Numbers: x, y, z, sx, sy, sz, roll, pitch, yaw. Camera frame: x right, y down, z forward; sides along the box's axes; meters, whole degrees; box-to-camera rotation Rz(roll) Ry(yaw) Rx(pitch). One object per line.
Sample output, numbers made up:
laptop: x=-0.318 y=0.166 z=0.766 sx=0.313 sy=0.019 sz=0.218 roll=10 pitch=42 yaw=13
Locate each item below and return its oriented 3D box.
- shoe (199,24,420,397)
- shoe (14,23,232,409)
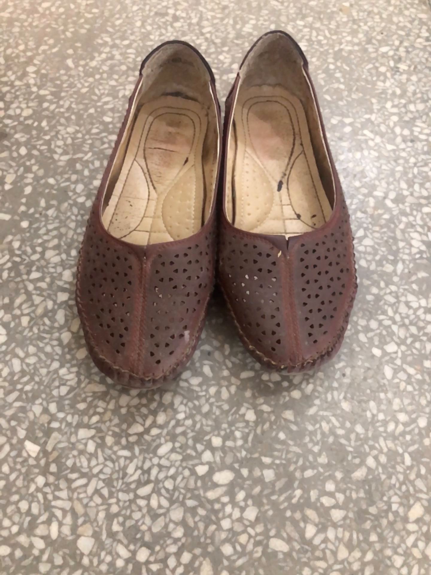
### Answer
shoe: x=0.042 y=-0.056 z=0.312 sx=0.095 sy=0.080 sz=0.231 roll=-2 pitch=64 yaw=-3
shoe: x=-0.042 y=-0.053 z=0.310 sx=0.087 sy=0.080 sz=0.236 roll=4 pitch=64 yaw=1
